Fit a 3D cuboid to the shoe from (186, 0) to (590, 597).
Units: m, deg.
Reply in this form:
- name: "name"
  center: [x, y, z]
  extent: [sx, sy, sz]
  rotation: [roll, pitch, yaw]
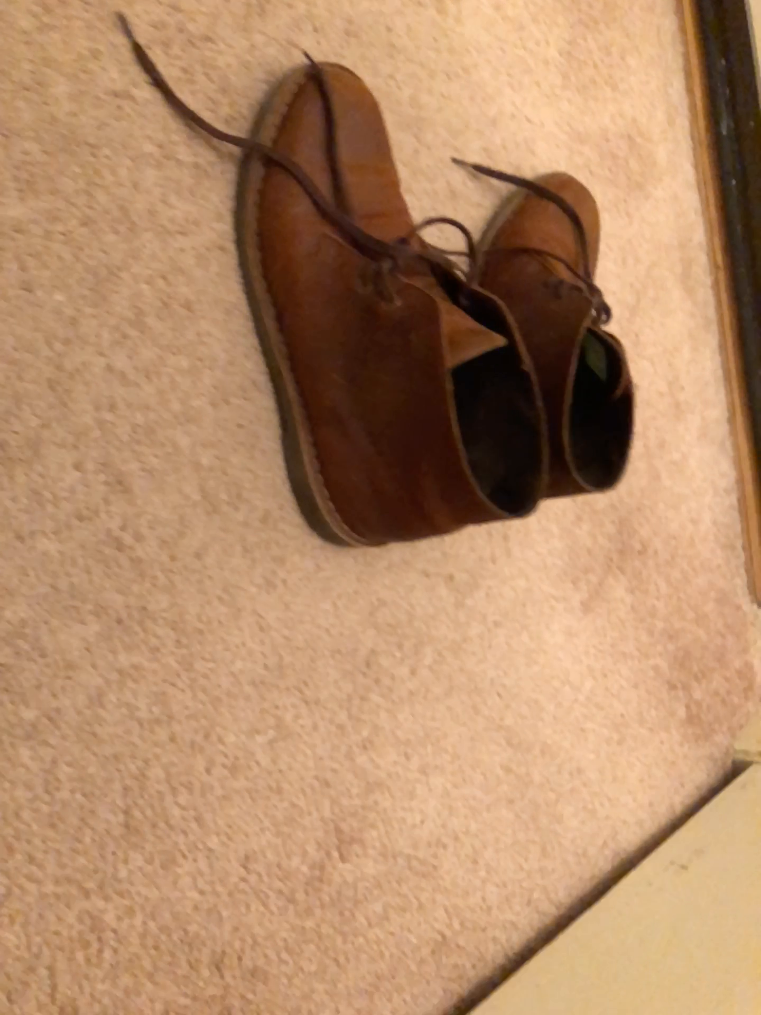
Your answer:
- name: "shoe"
  center: [0.005, -0.115, 0.482]
  extent: [0.111, 0.138, 0.303]
  rotation: [-18, 101, -38]

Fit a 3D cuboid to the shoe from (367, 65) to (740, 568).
- name: "shoe"
  center: [0.125, -0.123, 0.581]
  extent: [0.111, 0.138, 0.304]
  rotation: [33, 69, -34]
